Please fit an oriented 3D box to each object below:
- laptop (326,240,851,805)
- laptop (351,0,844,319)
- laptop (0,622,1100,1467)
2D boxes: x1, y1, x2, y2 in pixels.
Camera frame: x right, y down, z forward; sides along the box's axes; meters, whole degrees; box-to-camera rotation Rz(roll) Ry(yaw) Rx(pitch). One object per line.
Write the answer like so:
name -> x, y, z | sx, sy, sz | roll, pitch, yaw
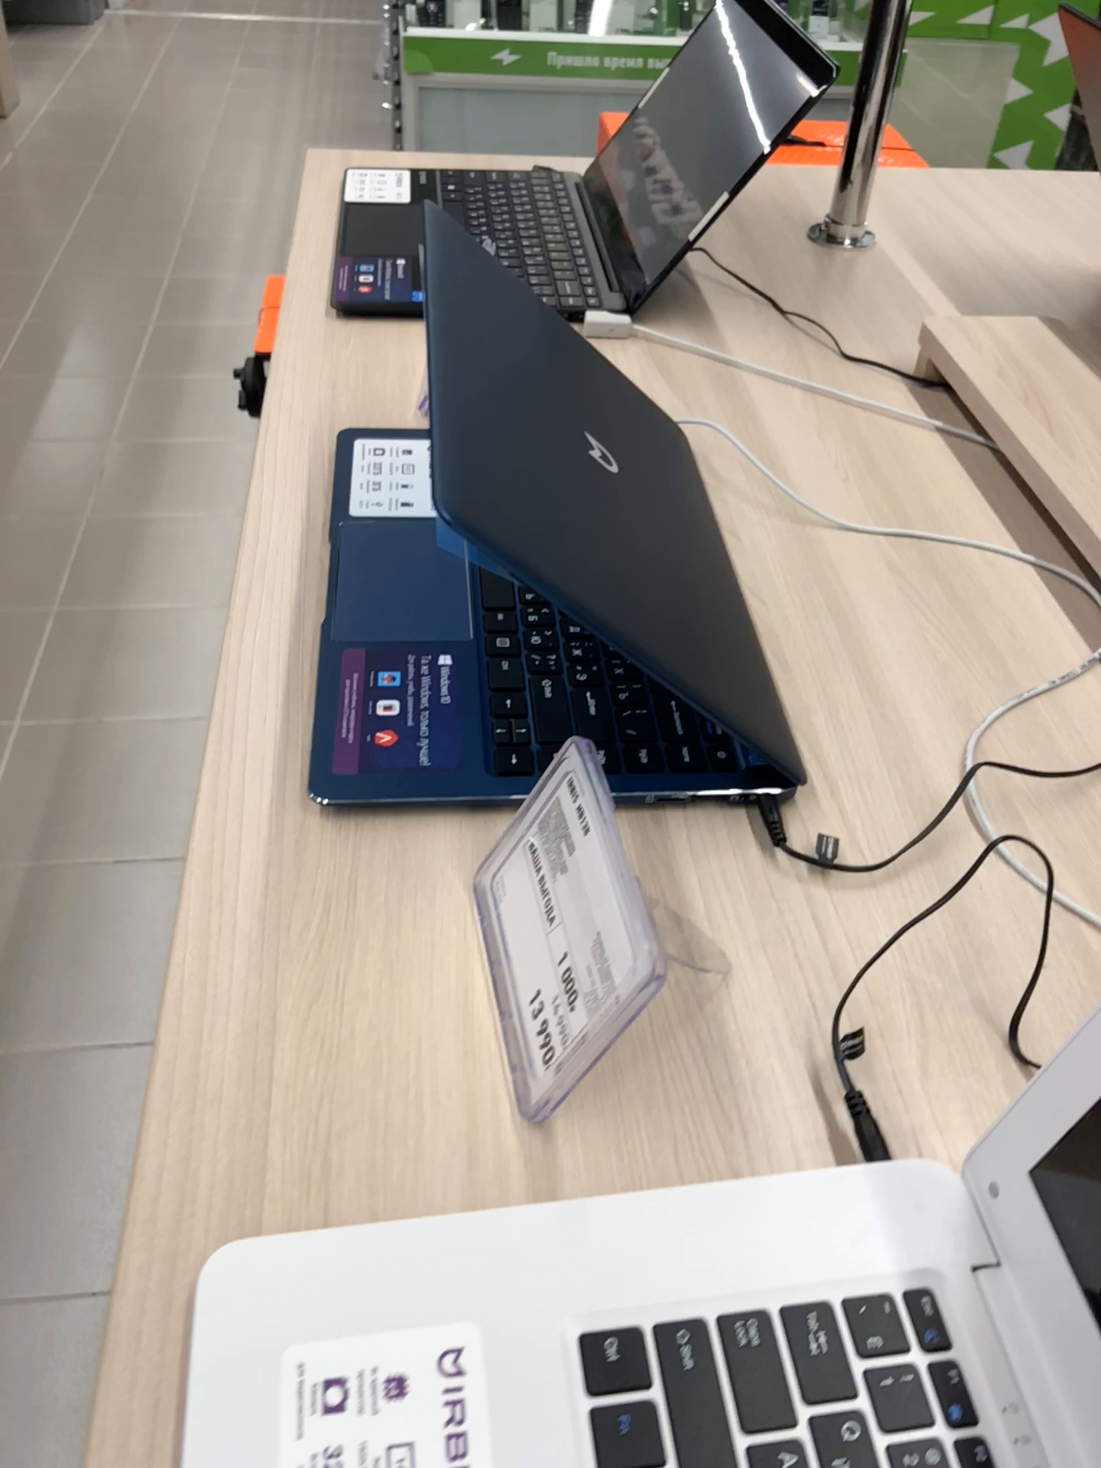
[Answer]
laptop -> 0.001, -0.123, 0.592 | 0.189, 0.124, 0.310 | -2, 41, -3
laptop -> 0.012, -0.472, 0.954 | 0.322, 0.165, 0.295 | -1, 41, -4
laptop -> 0.079, 0.174, 0.170 | 0.302, 0.212, 0.341 | -1, 40, -5
